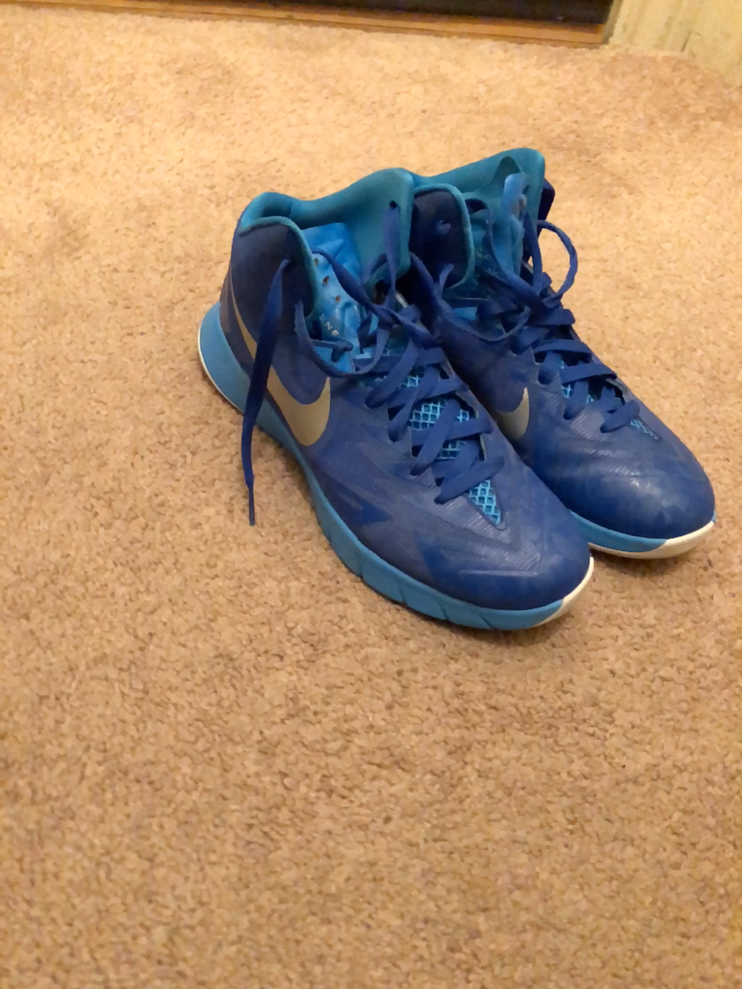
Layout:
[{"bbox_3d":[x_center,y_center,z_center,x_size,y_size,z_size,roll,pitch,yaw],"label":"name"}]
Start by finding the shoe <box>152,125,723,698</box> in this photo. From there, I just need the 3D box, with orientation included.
[{"bbox_3d":[0.013,-0.057,0.442,0.121,0.134,0.279,-30,62,-29],"label":"shoe"}]

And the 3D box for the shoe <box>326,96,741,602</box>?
[{"bbox_3d":[0.116,-0.098,0.492,0.122,0.134,0.280,-32,63,-30],"label":"shoe"}]
